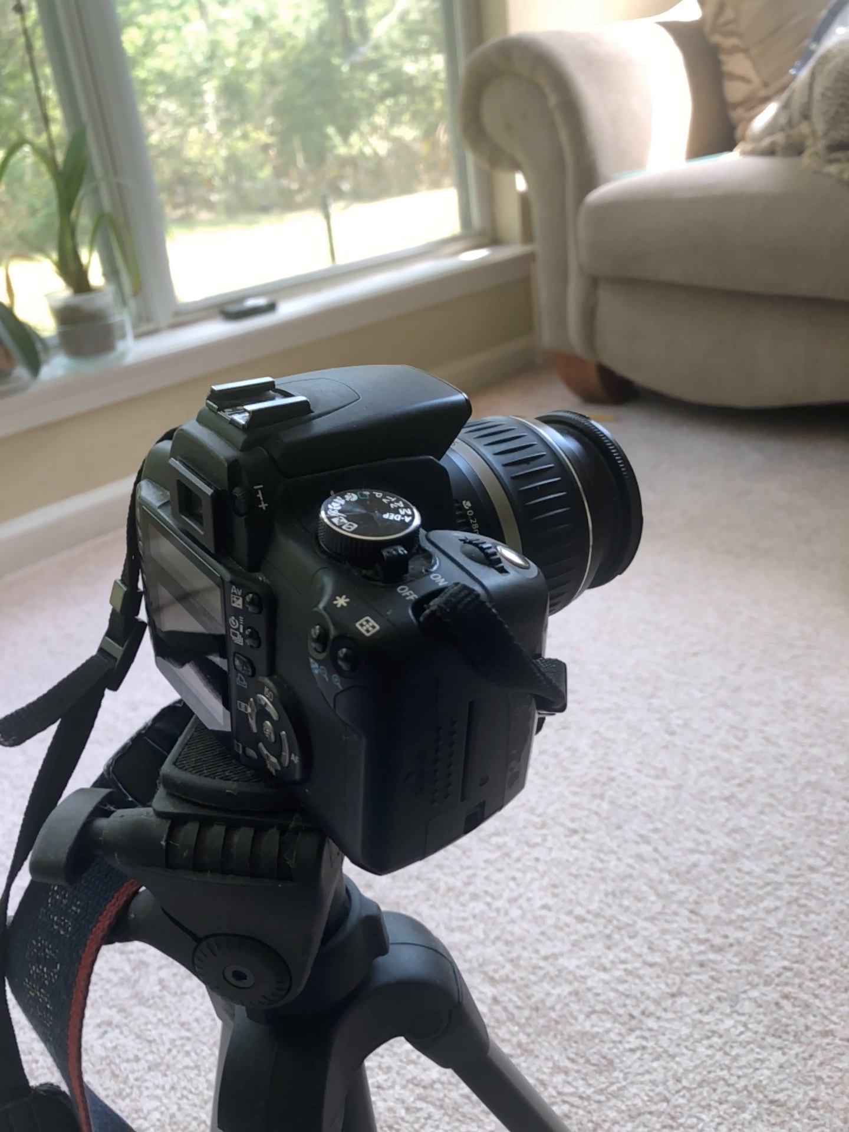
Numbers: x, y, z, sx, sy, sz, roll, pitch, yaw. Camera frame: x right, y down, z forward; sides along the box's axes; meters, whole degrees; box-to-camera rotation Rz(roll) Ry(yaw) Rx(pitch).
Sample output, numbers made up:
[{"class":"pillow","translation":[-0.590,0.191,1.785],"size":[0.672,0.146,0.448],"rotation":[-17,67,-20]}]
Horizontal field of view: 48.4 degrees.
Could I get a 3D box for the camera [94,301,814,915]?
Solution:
[{"class":"camera","translation":[0.005,-0.008,0.274],"size":[0.142,0.093,0.131],"rotation":[-19,36,-37]}]
